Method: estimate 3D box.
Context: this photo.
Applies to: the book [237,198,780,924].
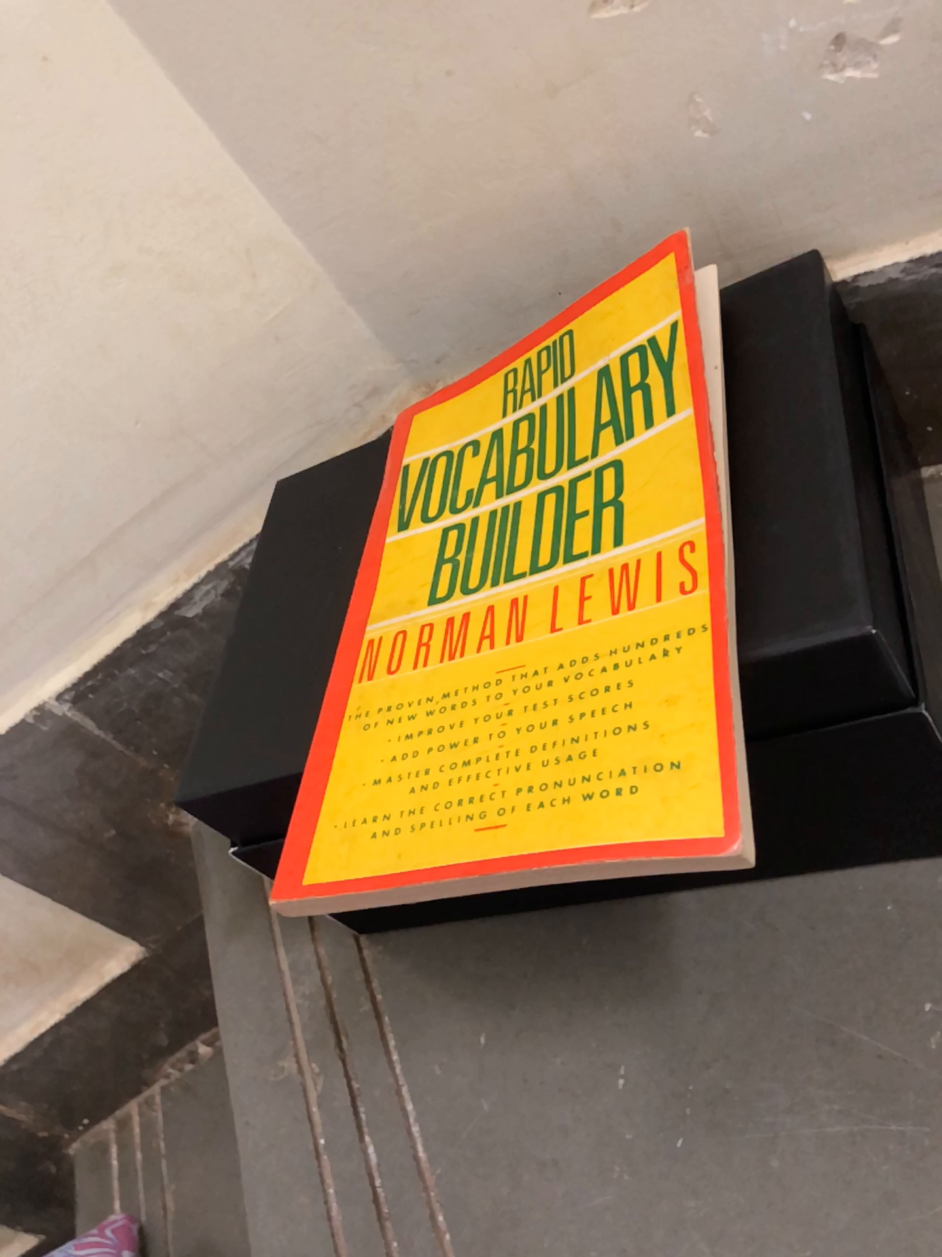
[{"bbox_3d":[0.020,-0.029,0.327,0.140,0.030,0.230,-15,46,31],"label":"book"}]
